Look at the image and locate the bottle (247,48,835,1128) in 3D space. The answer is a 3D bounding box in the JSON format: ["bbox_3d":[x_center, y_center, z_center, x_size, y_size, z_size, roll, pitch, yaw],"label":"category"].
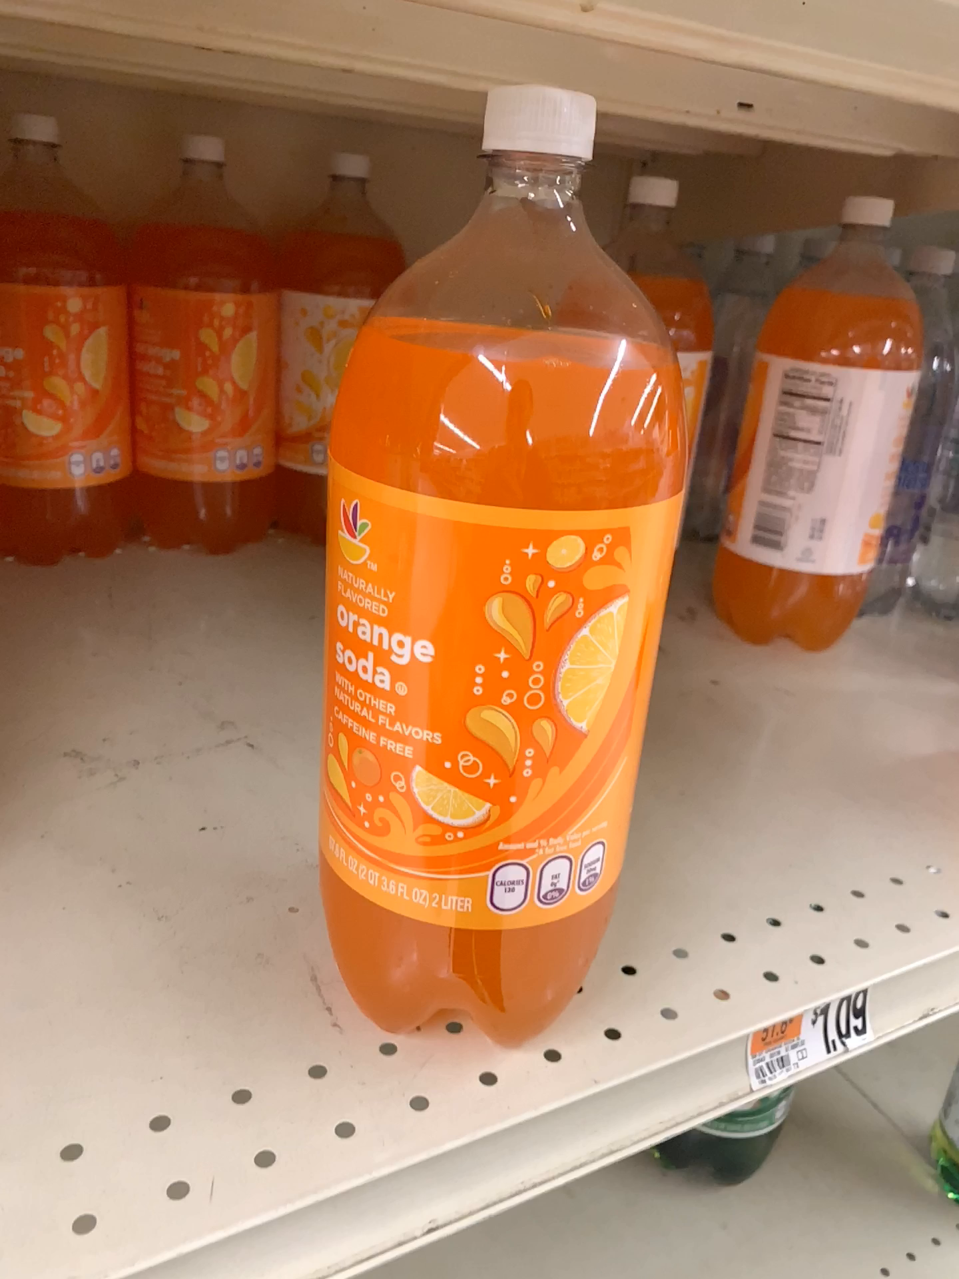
[{"bbox_3d":[0.009,-0.015,0.322,0.110,0.289,0.120,5,24,-2],"label":"bottle"}]
